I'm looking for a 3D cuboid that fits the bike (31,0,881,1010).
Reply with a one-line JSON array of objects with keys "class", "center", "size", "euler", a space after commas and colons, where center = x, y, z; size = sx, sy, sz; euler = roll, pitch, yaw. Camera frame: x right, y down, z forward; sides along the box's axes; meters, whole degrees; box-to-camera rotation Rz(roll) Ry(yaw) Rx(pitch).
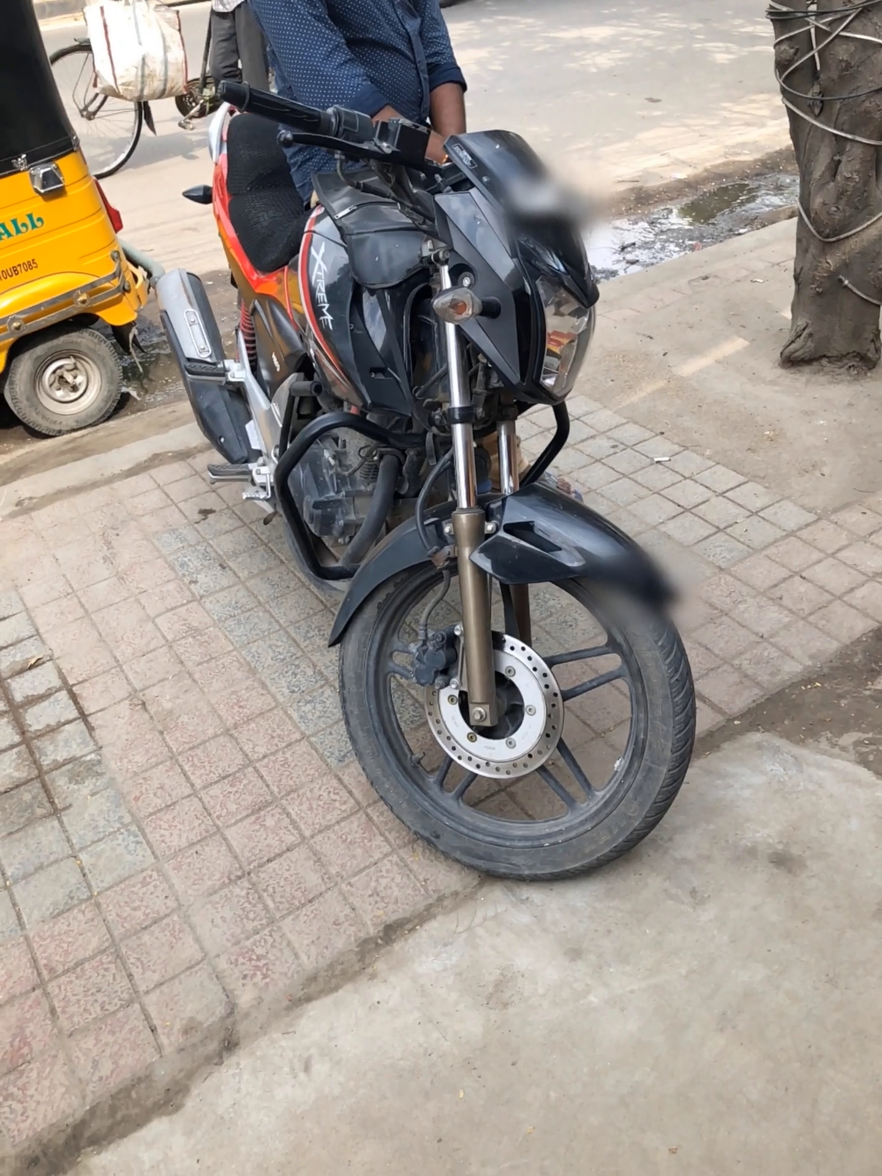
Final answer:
[{"class": "bike", "center": [-0.079, -0.394, 1.830], "size": [0.690, 1.221, 1.716], "euler": [-21, 41, -19]}]
